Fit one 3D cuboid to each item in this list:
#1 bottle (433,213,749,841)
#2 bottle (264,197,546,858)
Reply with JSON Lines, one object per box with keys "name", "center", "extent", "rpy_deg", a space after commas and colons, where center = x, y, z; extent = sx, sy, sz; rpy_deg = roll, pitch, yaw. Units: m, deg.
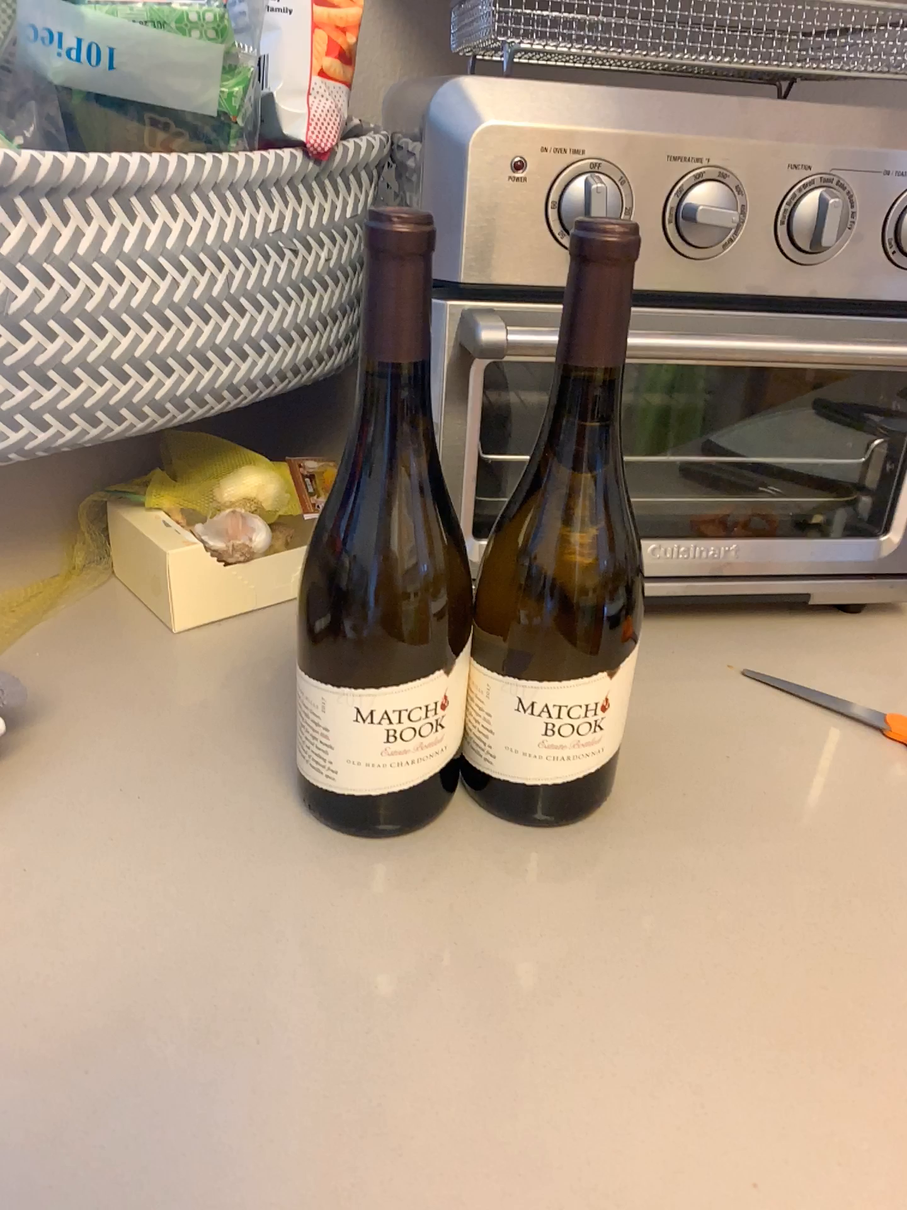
{"name": "bottle", "center": [0.050, -0.030, 0.446], "extent": [0.090, 0.278, 0.091], "rpy_deg": [3, 28, -2]}
{"name": "bottle", "center": [-0.031, -0.030, 0.440], "extent": [0.090, 0.288, 0.091], "rpy_deg": [3, 28, -2]}
